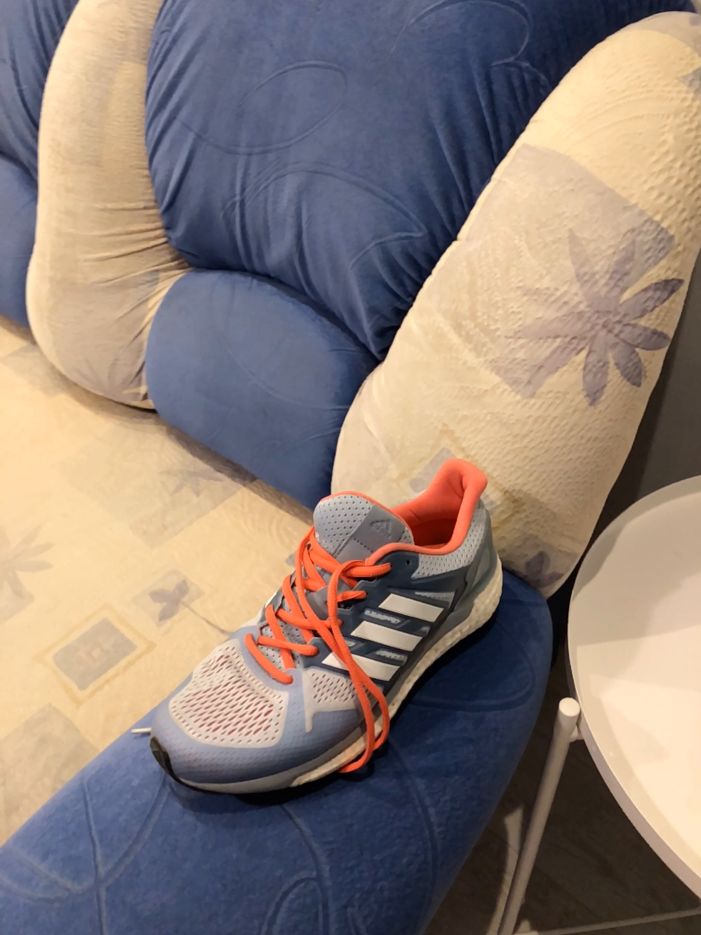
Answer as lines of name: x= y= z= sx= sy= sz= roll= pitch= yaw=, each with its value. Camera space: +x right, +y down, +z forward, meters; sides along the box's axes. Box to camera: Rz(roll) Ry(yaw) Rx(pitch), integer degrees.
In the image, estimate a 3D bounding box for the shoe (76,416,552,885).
shoe: x=-0.007 y=0.096 z=0.479 sx=0.271 sy=0.109 sz=0.107 roll=-34 pitch=50 yaw=-29
